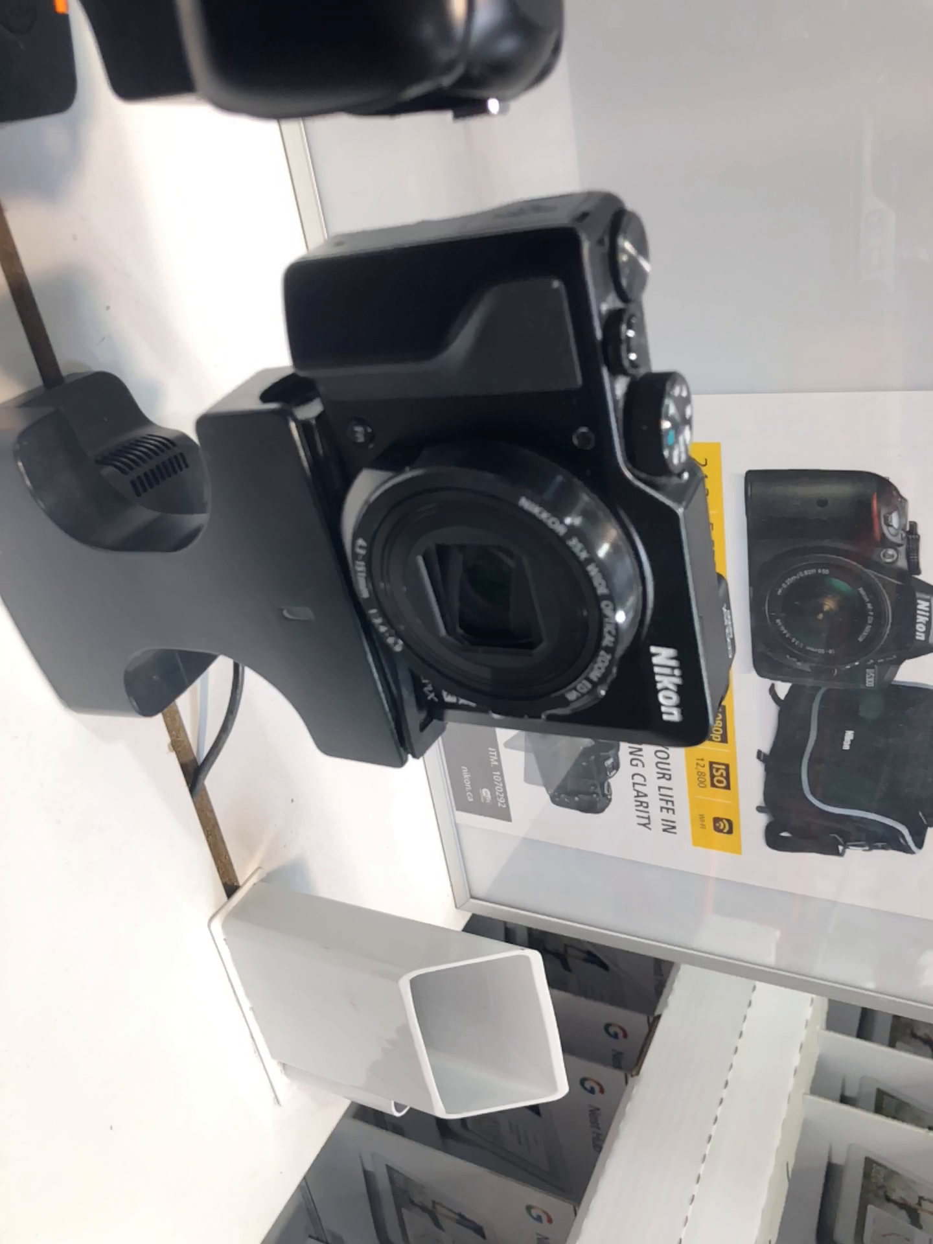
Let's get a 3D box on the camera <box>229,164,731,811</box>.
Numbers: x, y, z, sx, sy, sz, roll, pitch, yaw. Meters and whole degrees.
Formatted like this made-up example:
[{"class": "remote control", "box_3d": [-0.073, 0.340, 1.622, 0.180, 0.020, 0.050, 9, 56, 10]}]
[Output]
[{"class": "camera", "box_3d": [0.012, -0.021, 0.210, 0.044, 0.069, 0.117, -63, 147, -45]}]
